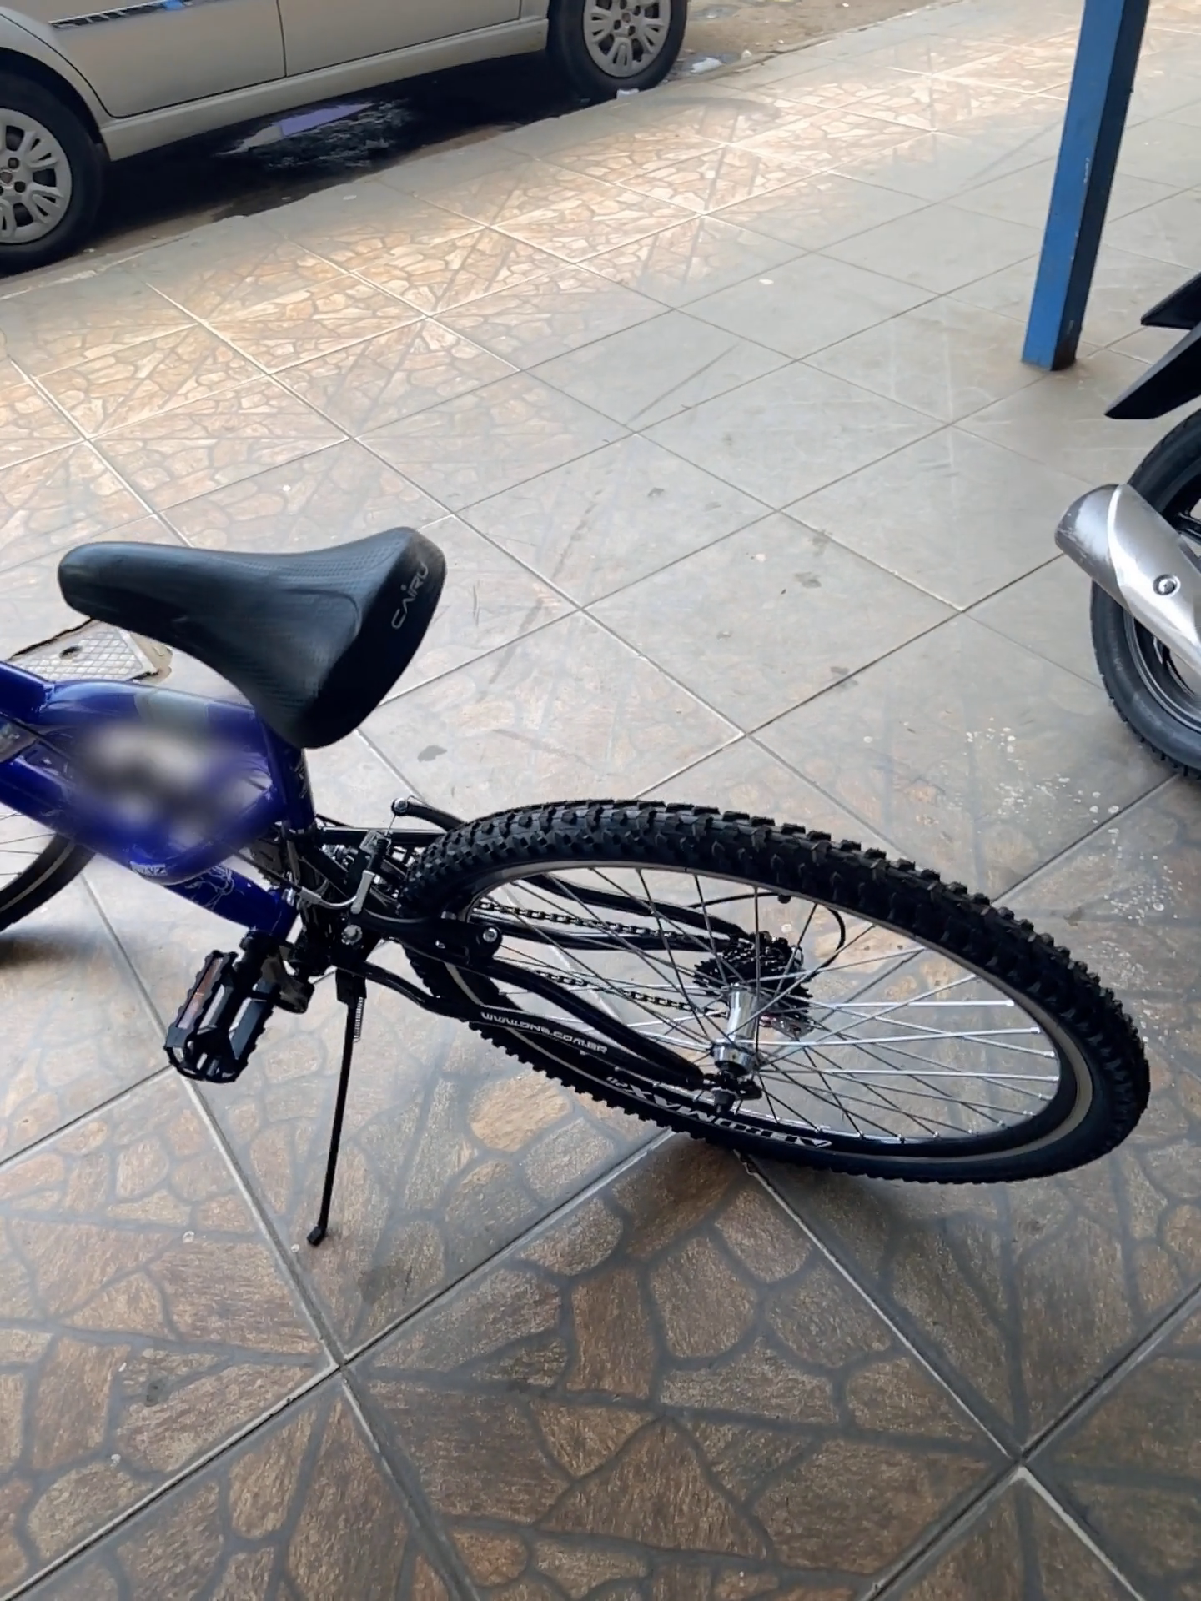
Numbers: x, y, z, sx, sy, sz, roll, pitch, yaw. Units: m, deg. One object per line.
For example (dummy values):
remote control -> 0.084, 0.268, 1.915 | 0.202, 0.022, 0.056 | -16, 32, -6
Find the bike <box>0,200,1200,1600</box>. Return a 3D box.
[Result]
bike -> -0.410, 0.223, 0.954 | 1.610, 1.019, 0.517 | 3, 46, 12
